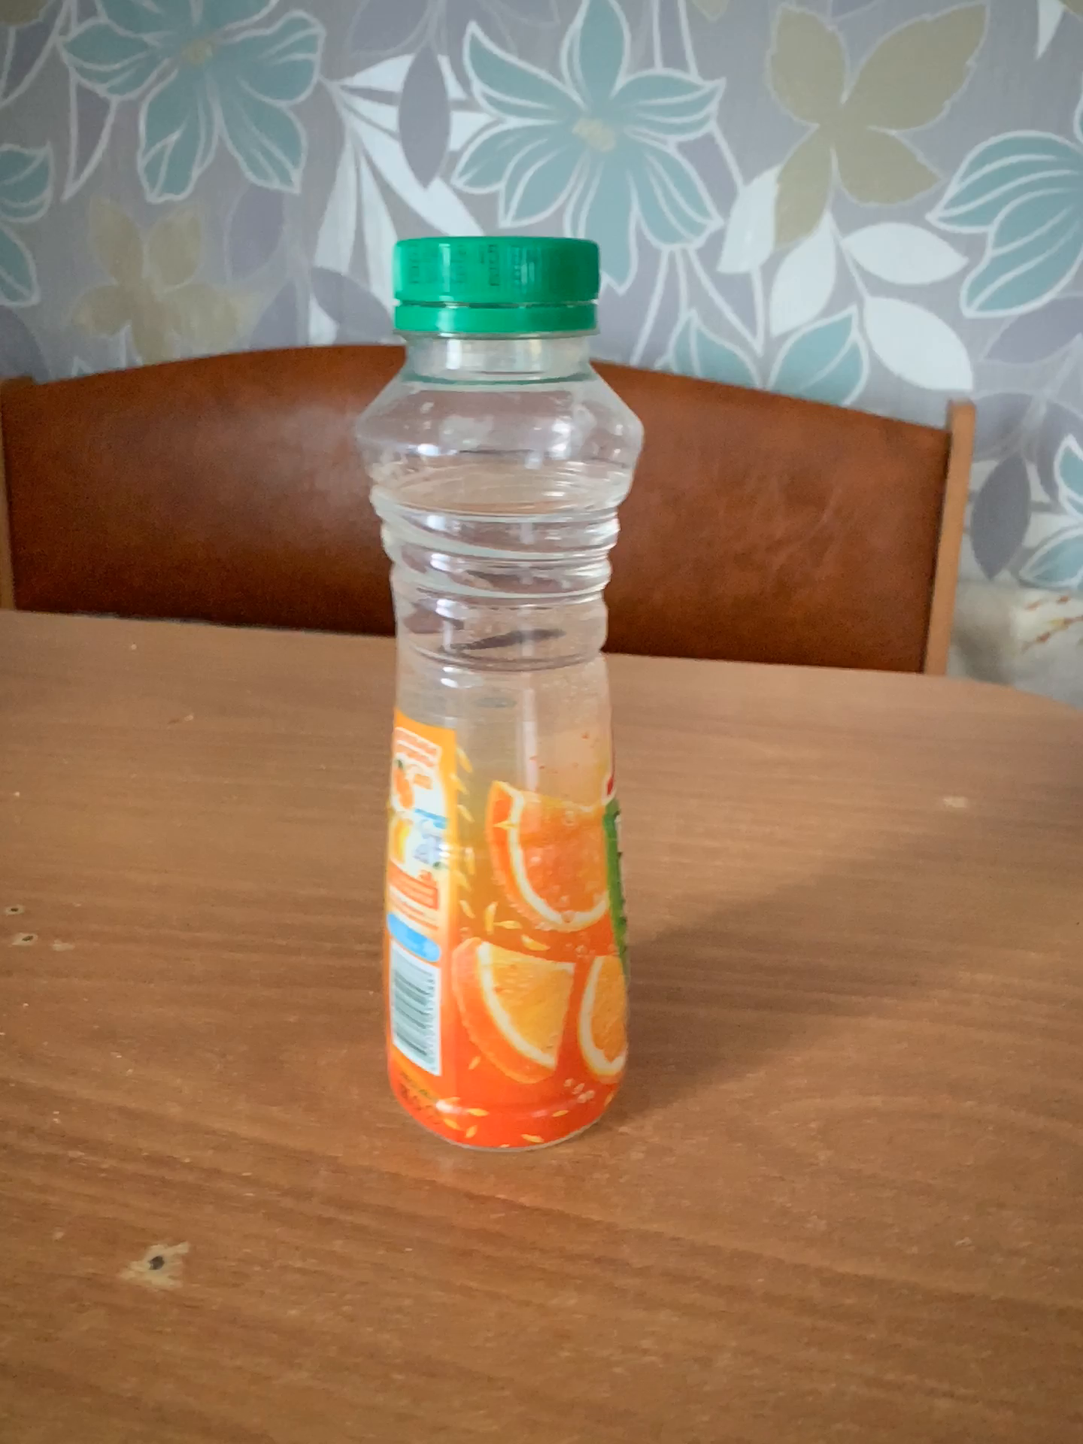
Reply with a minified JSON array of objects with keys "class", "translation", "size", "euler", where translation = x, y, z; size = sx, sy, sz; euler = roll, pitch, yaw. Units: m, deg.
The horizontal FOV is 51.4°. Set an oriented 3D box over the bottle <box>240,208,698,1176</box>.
[{"class":"bottle","translation":[-0.010,-0.007,0.258],"size":[0.070,0.201,0.071],"euler":[0,22,0]}]
